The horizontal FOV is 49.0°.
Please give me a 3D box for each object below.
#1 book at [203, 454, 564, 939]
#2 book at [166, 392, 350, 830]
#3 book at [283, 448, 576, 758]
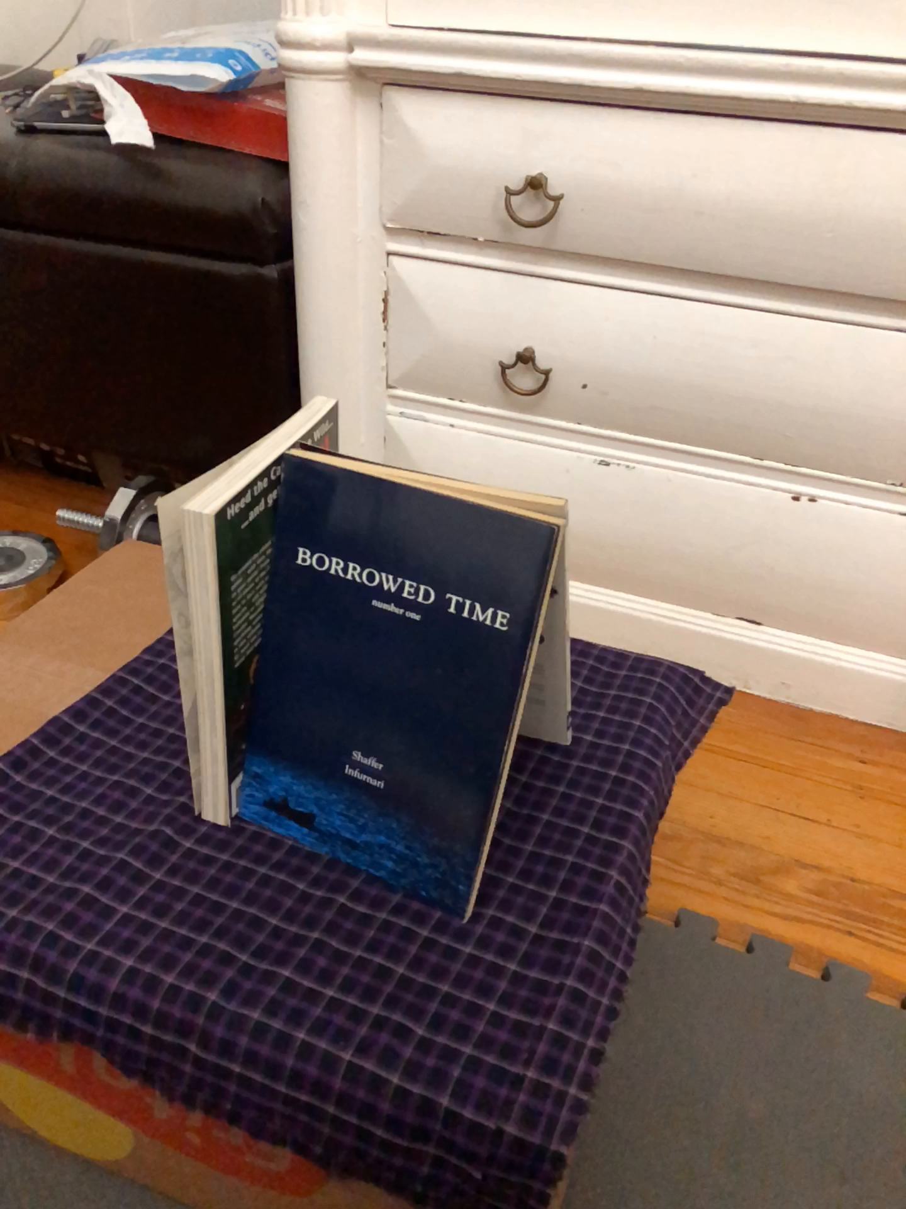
[{"bbox_3d":[-0.041,0.043,0.476,0.150,0.199,0.010,16,14,18],"label":"book"},{"bbox_3d":[-0.101,0.002,0.522,0.020,0.189,0.141,18,35,11],"label":"book"},{"bbox_3d":[-0.004,0.007,0.528,0.140,0.199,0.010,13,53,17],"label":"book"}]
